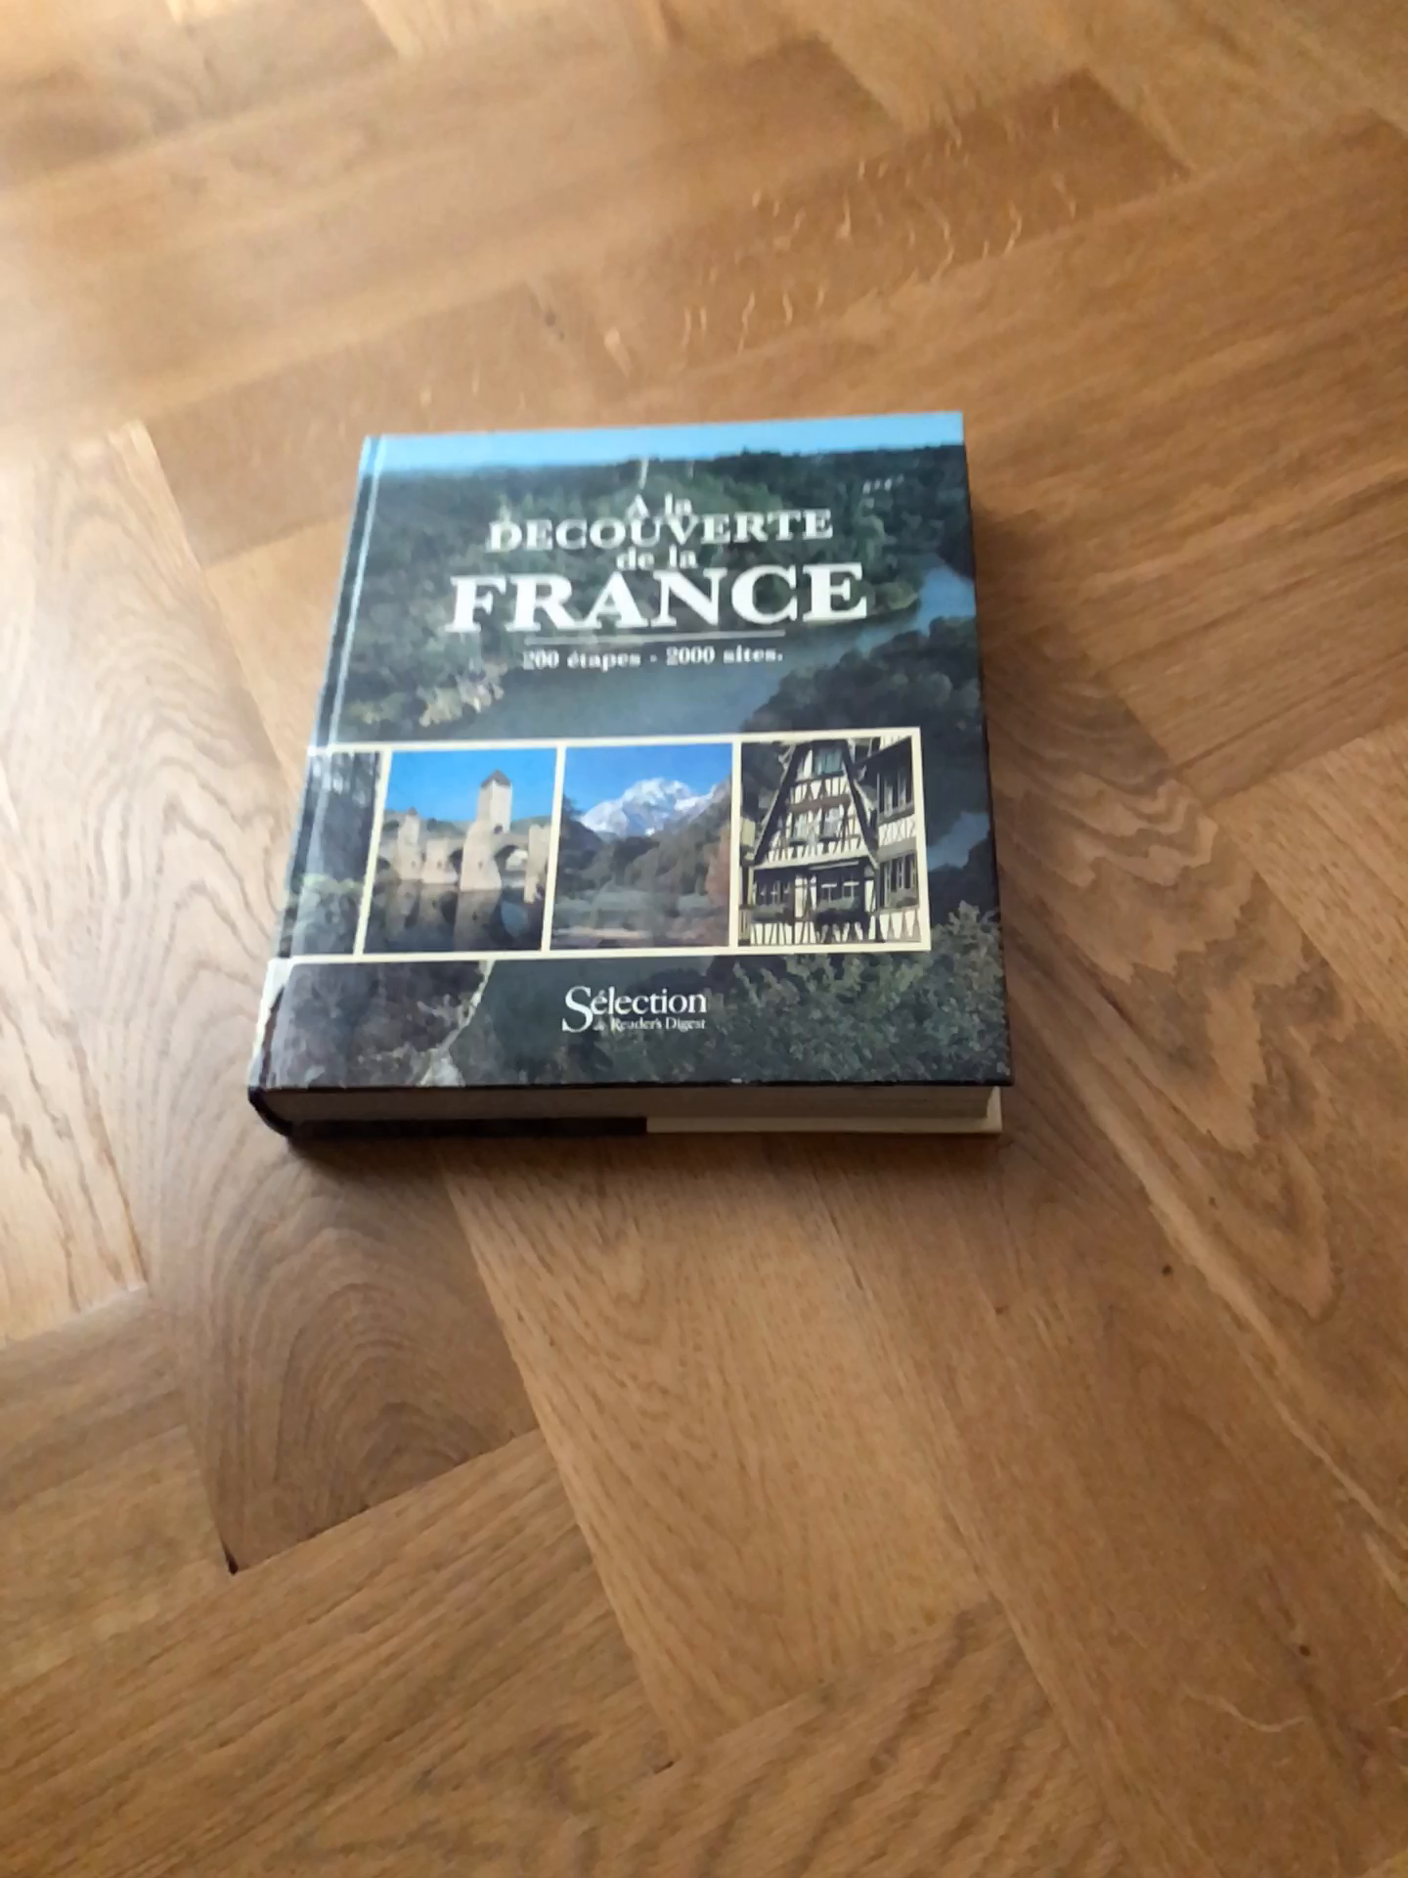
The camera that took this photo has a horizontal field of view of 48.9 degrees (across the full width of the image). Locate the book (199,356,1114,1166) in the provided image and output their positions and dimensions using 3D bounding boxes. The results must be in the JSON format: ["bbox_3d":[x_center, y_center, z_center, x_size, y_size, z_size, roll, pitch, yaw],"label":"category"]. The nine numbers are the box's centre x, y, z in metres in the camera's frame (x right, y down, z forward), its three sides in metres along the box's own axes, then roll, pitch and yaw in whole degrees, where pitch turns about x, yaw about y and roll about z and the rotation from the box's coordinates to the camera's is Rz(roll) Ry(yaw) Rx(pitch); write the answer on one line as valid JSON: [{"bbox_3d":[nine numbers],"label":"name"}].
[{"bbox_3d":[-0.009,-0.070,0.509,0.250,0.040,0.291,-1,60,5],"label":"book"}]
